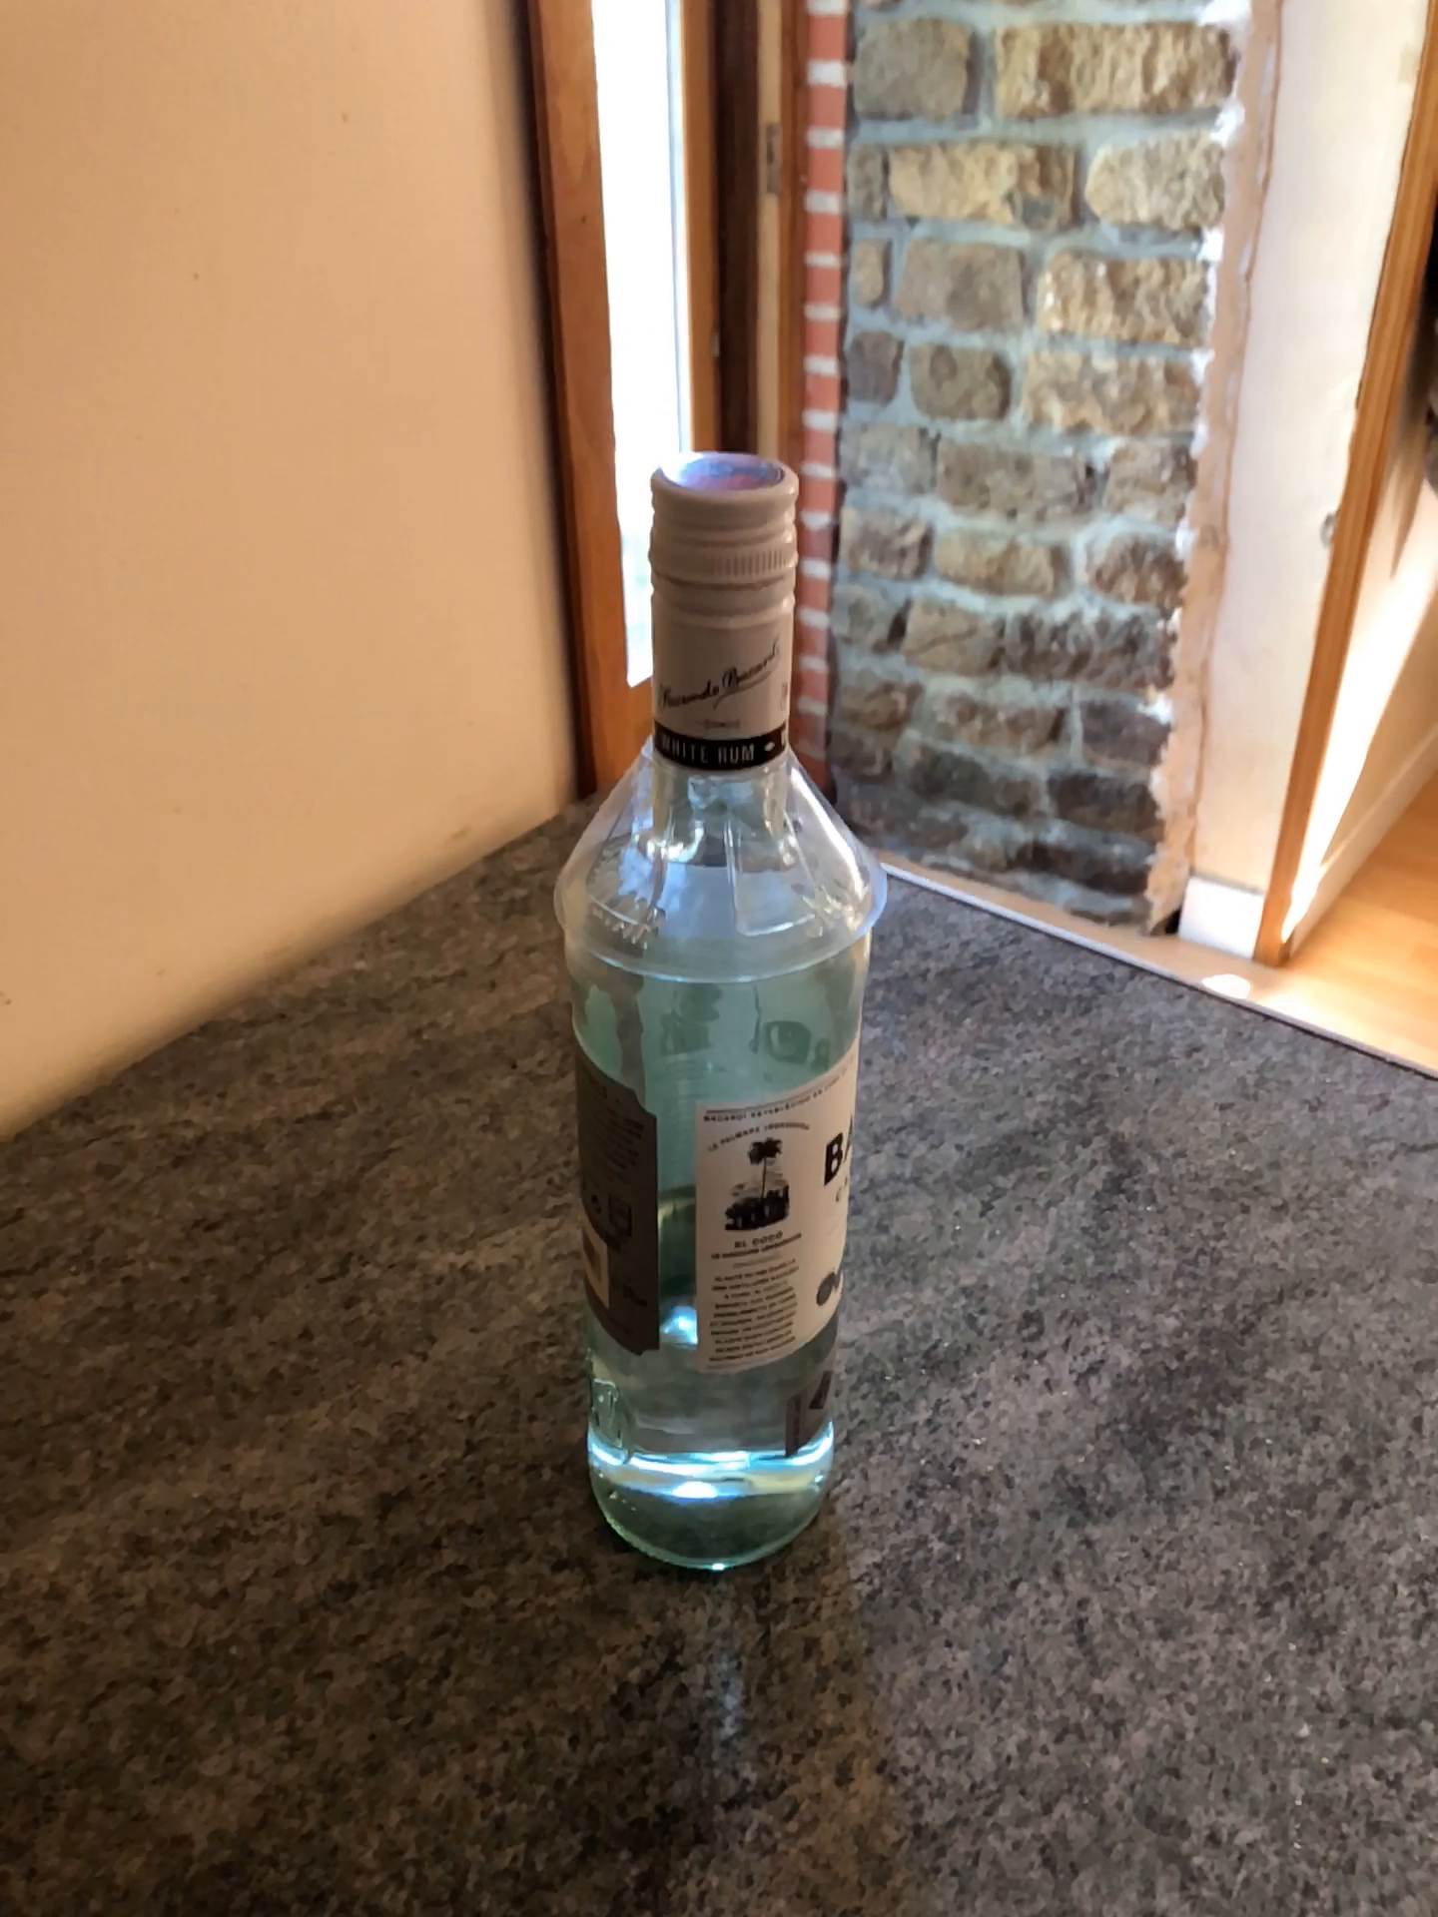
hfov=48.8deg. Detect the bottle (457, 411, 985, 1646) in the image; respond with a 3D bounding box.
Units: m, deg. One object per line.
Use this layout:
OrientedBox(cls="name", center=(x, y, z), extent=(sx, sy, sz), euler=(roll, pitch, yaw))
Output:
OrientedBox(cls="bottle", center=(0.000, 0.031, 0.394), extent=(0.080, 0.298, 0.080), euler=(-1, 32, 0))
